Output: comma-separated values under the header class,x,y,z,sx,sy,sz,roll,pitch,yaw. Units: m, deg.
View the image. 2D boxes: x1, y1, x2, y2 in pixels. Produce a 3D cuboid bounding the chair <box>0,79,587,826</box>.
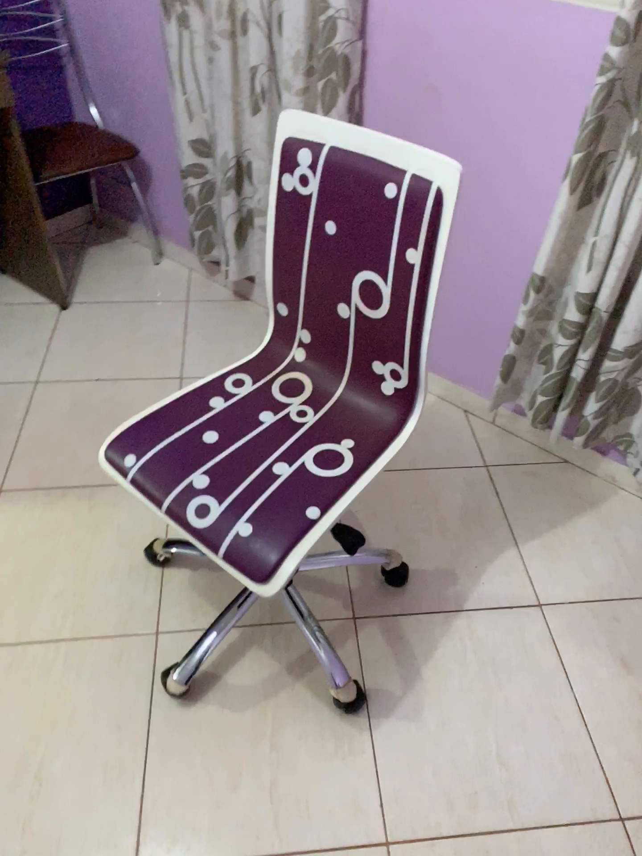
class,x,y,z,sx,sy,sz,roll,pitch,yaw
chair,-0.131,0.050,1.194,0.687,1.006,0.623,34,51,28
